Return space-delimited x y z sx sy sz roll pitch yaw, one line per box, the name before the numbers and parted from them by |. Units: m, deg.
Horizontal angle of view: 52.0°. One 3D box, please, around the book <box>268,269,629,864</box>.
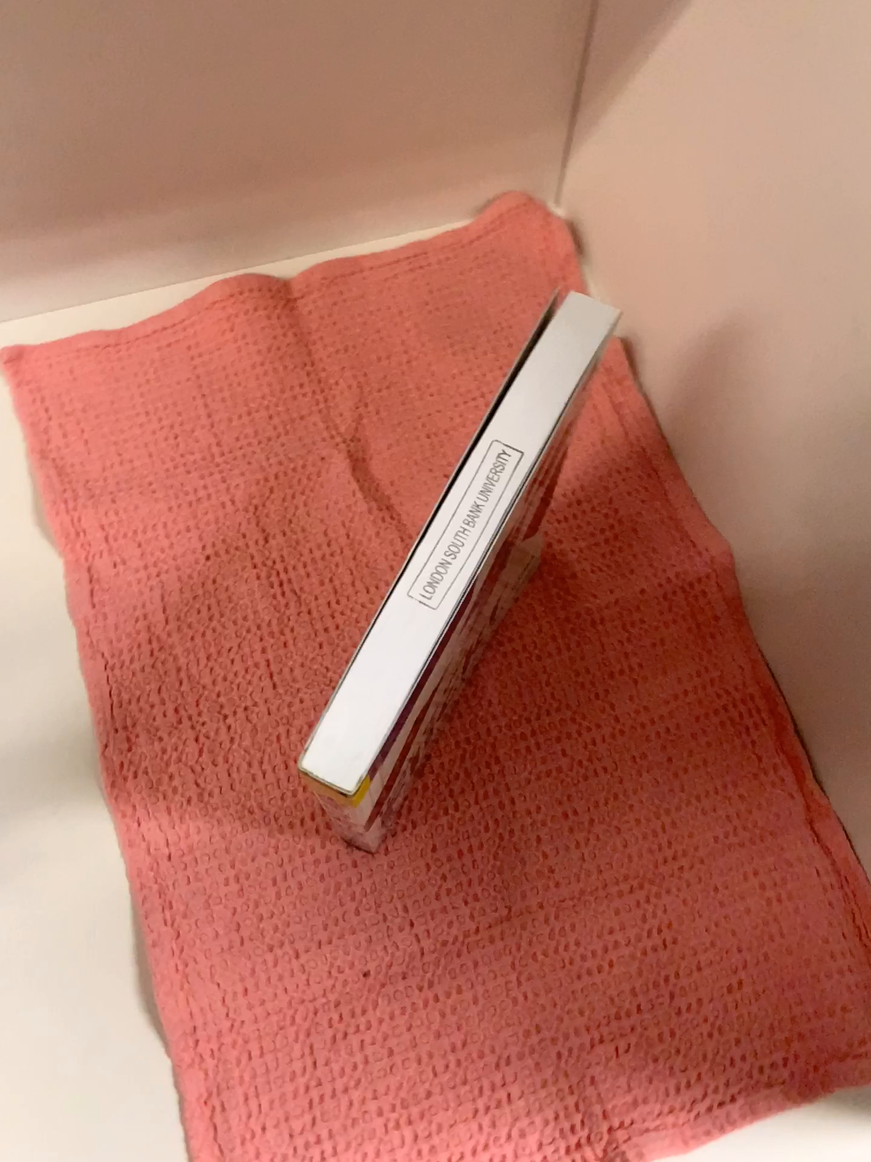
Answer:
book | 0.007 0.018 0.379 0.025 0.229 0.191 27 70 8
